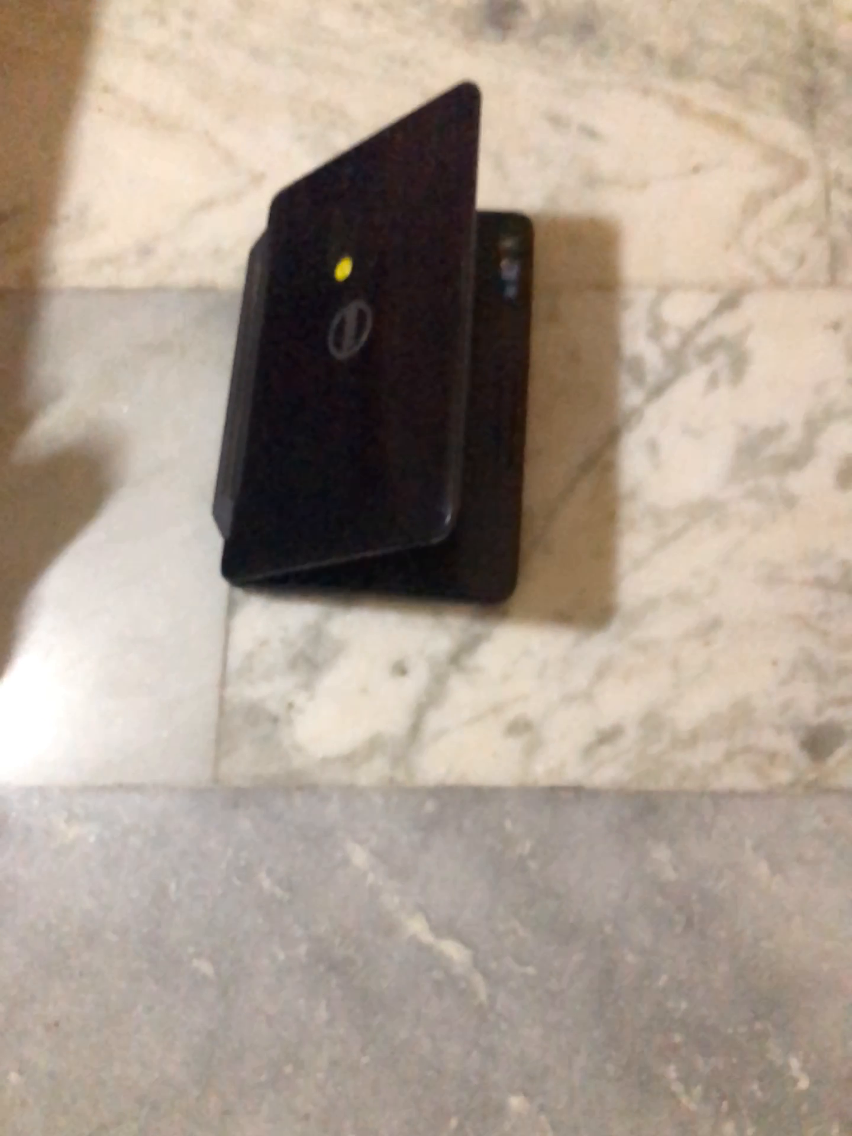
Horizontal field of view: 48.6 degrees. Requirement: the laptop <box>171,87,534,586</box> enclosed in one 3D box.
[{"bbox_3d":[-0.040,-0.178,0.744,0.234,0.161,0.351,2,72,4],"label":"laptop"}]
